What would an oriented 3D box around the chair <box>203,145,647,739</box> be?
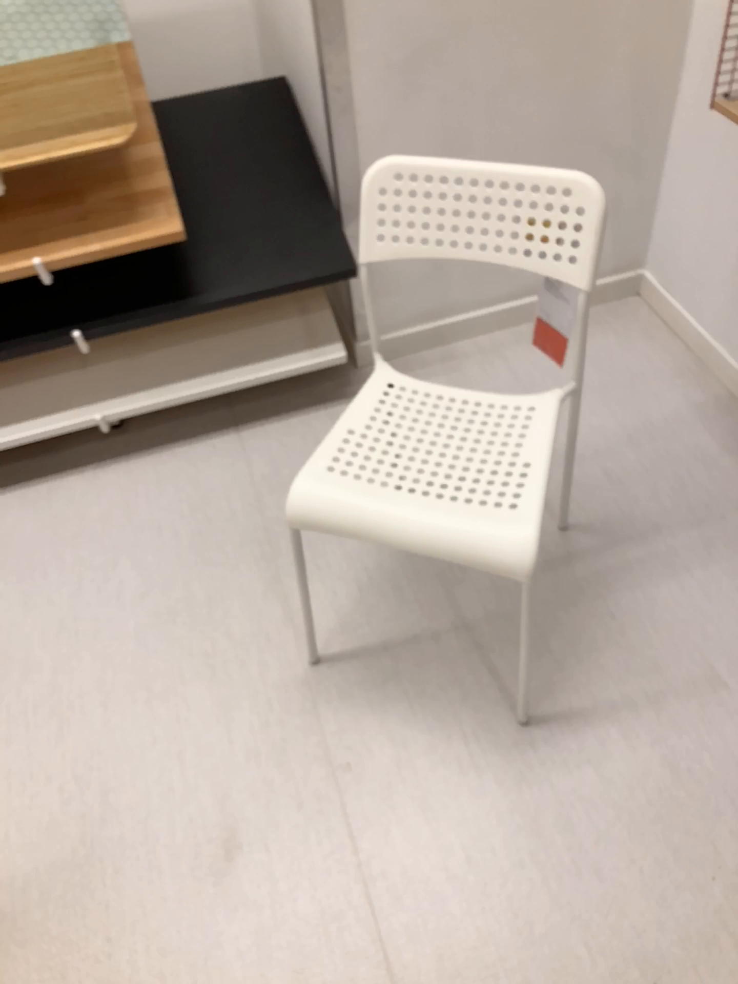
[{"bbox_3d":[0.124,-0.055,1.274,0.420,0.735,0.473,12,50,17],"label":"chair"}]
